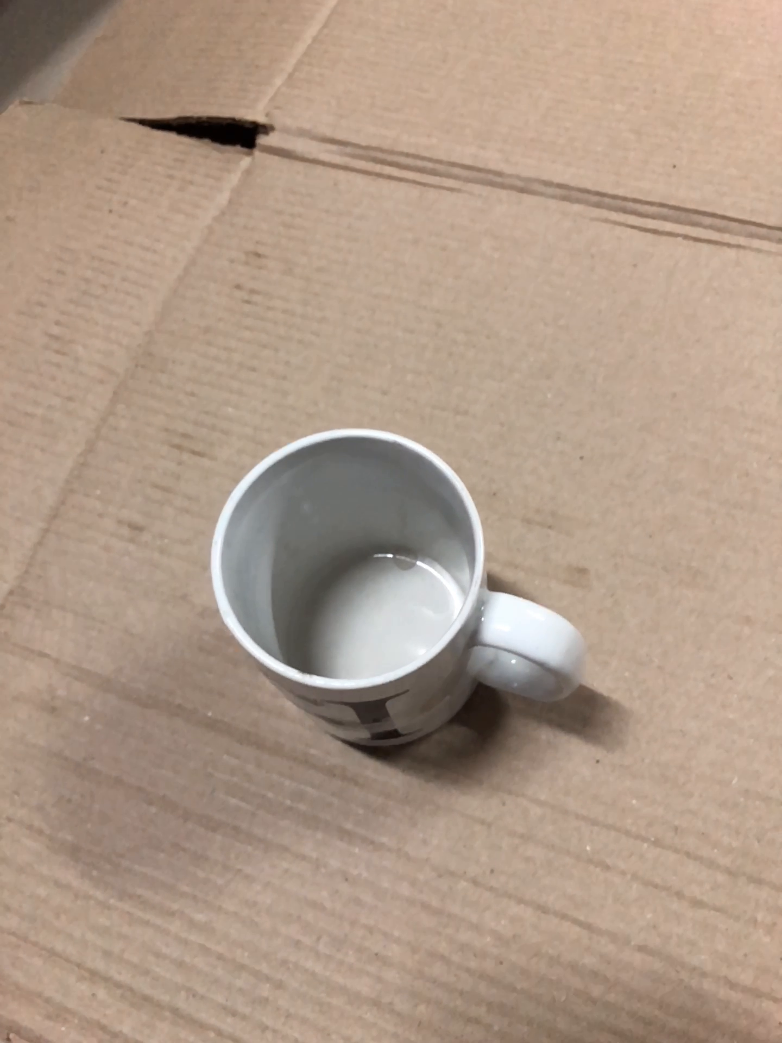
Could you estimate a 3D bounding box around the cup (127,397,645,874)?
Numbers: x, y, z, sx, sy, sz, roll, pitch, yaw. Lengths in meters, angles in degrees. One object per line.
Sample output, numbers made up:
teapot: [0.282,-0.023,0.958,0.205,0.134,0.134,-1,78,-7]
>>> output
cup: [0.004,0.038,0.268,0.110,0.100,0.080,20,65,17]
